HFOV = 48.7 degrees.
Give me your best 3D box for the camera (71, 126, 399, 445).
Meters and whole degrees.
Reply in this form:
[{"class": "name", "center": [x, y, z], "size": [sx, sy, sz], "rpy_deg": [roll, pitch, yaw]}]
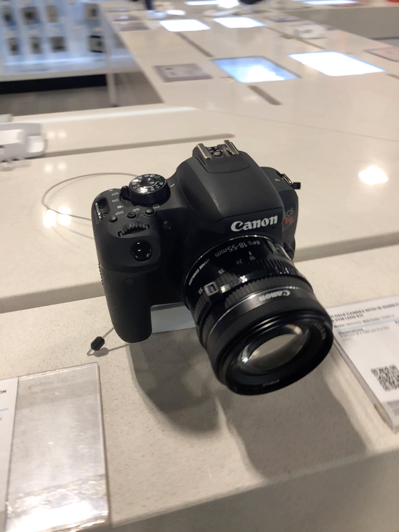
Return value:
[{"class": "camera", "center": [0.013, -0.003, 0.255], "size": [0.140, 0.099, 0.131], "rpy_deg": [-12, 37, -14]}]
